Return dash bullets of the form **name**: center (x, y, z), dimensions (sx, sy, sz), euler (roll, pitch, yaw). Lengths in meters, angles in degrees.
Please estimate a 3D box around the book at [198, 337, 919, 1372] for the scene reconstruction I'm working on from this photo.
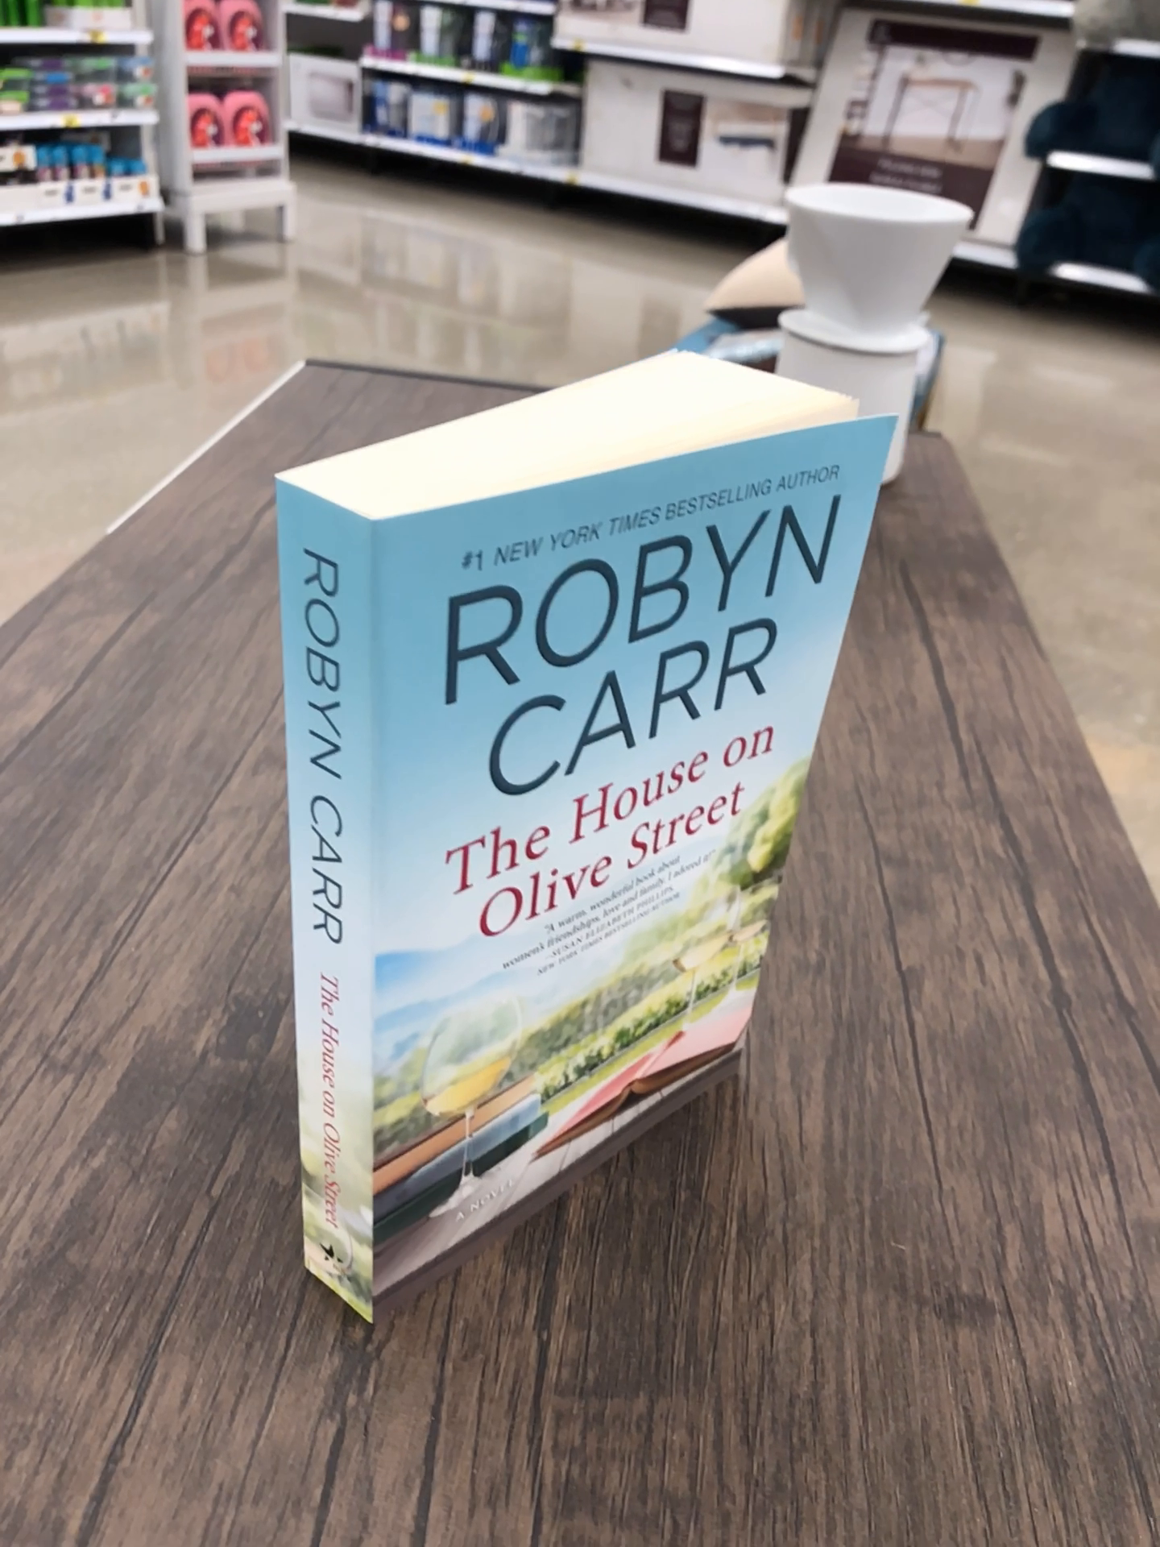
- **book**: center (-0.004, 0.014, 0.297), dimensions (0.050, 0.195, 0.147), euler (29, 38, 33)
